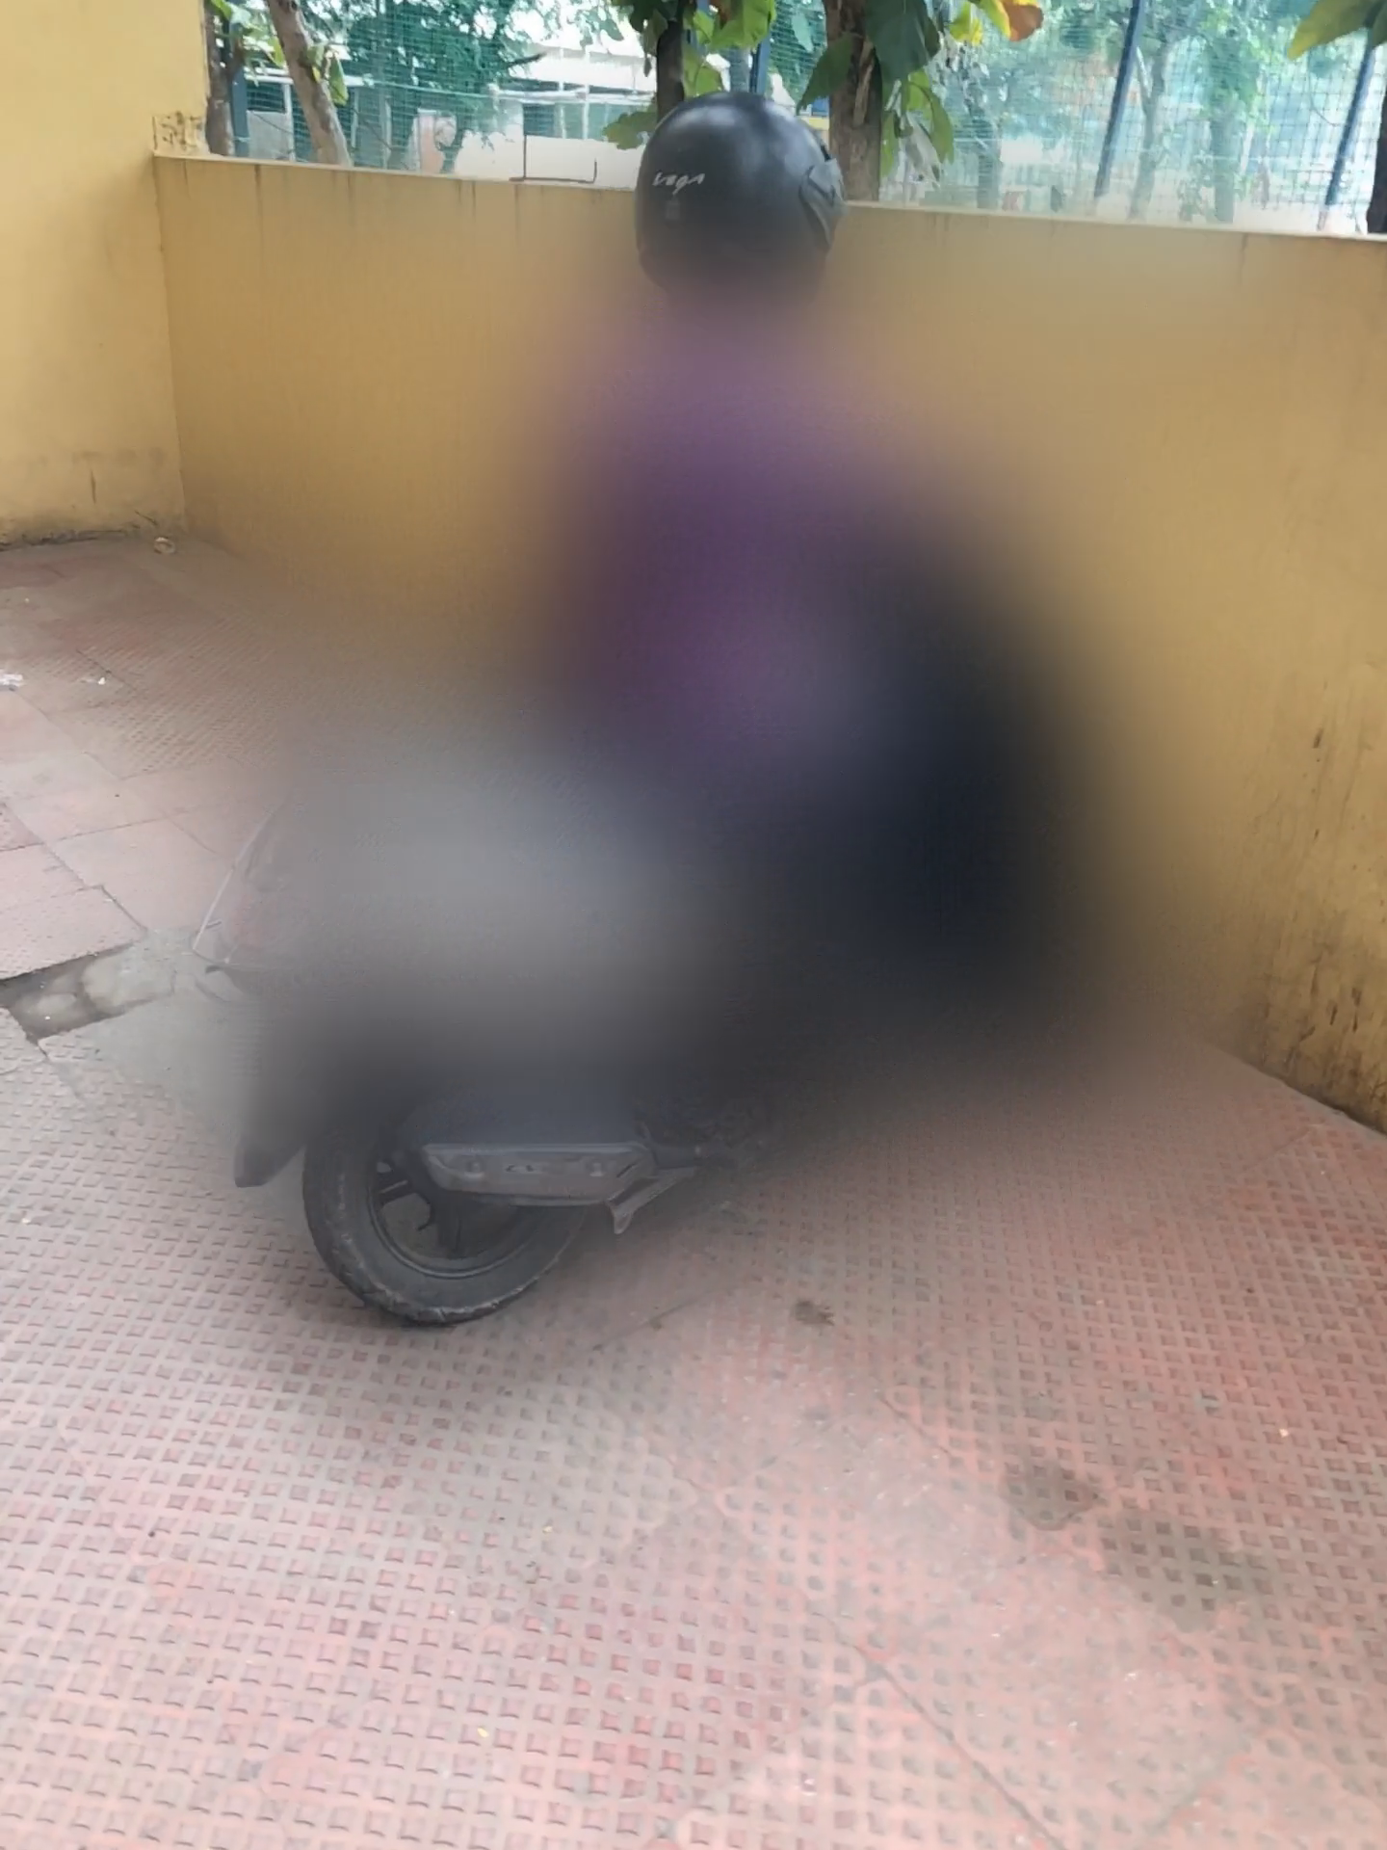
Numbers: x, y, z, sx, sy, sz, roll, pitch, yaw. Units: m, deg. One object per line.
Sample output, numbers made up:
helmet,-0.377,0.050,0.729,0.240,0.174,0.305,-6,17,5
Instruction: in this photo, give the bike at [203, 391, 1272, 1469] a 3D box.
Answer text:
bike,0.151,-0.181,2.519,1.717,1.182,0.646,-20,34,-40
